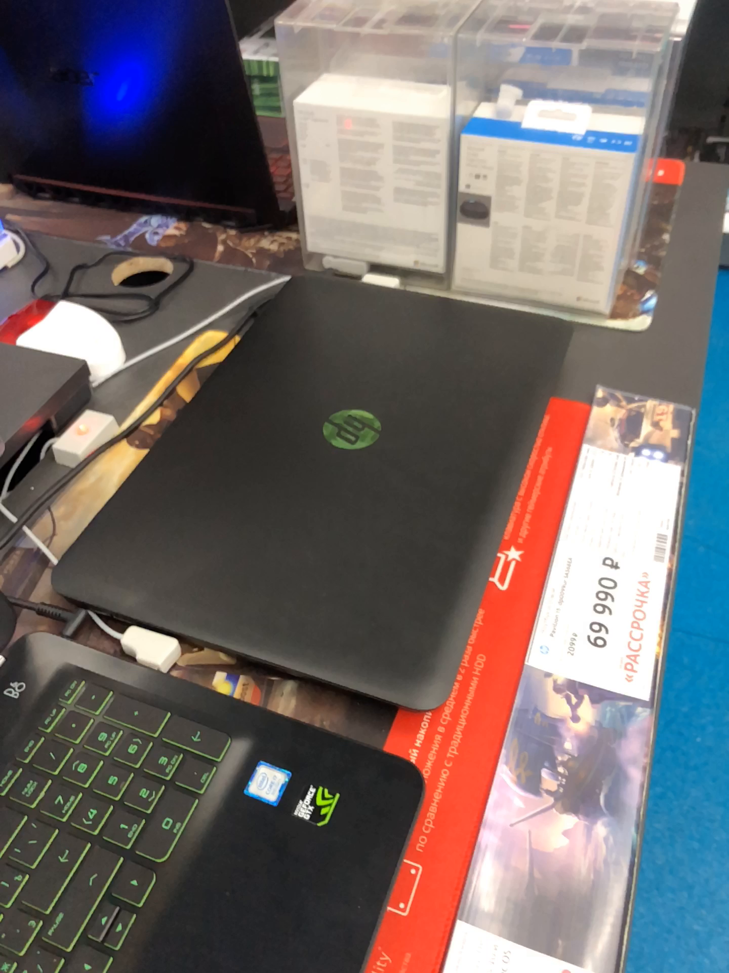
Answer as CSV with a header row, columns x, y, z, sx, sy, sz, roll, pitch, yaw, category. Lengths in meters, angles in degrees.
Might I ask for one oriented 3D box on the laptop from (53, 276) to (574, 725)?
x,y,z,sx,sy,sz,roll,pitch,yaw,category
-0.007,-0.031,0.573,0.239,0.006,0.373,15,48,15,laptop
